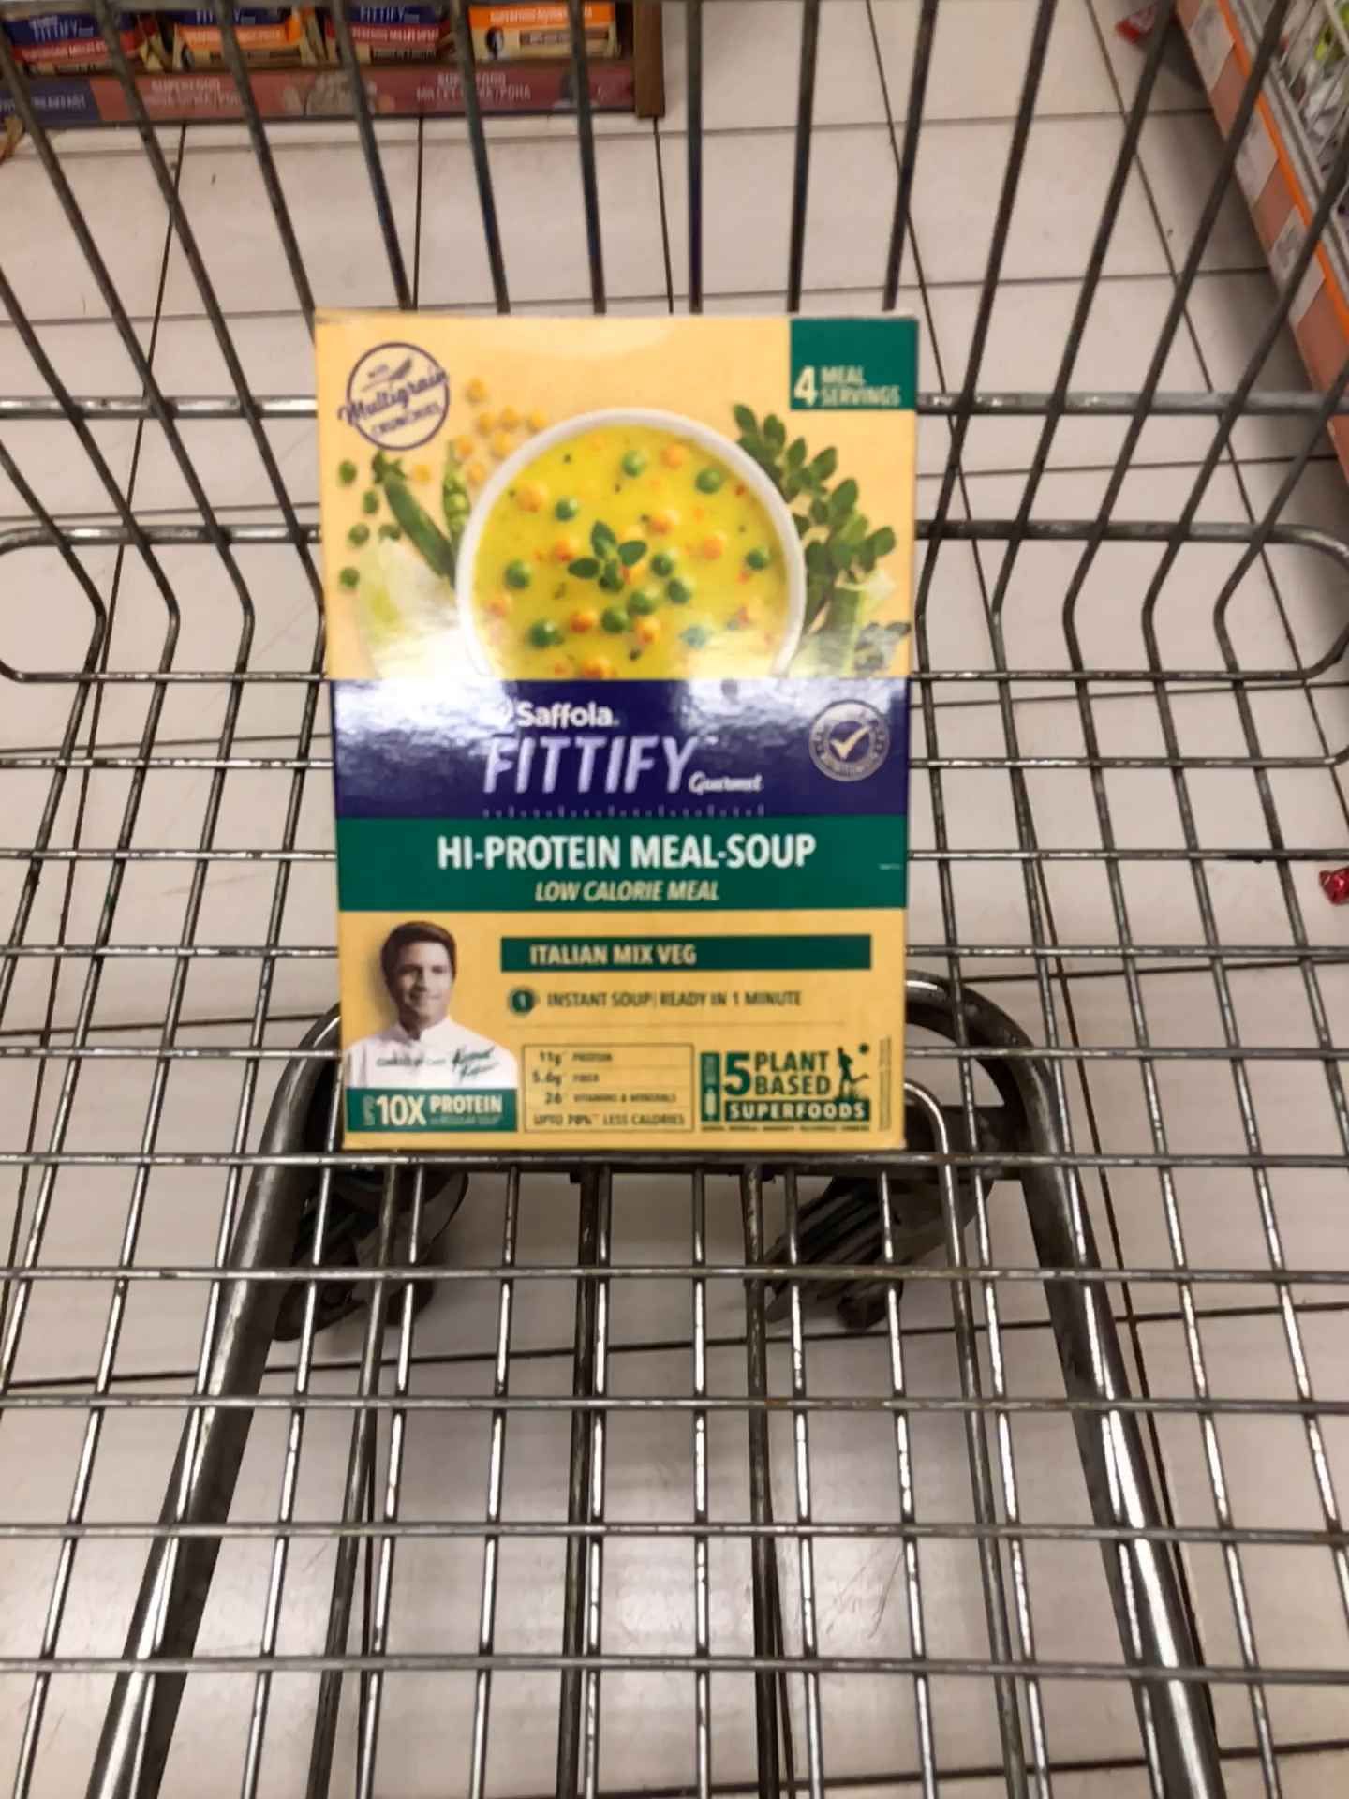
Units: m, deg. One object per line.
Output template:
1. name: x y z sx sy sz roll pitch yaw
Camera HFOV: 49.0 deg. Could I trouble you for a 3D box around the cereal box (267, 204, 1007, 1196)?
1. cereal box: -0.006 -0.039 0.316 0.130 0.090 0.180 0 97 0
